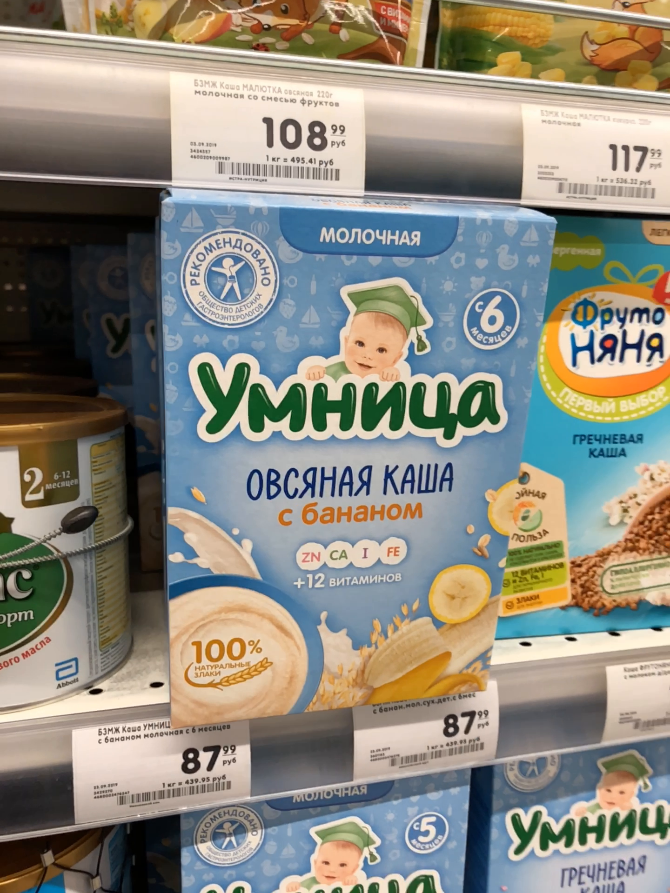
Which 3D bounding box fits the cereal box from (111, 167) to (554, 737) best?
[{"bbox_3d":[-0.007,0.001,0.305,0.150,0.209,0.060,-3,19,-14],"label":"cereal box"}]
